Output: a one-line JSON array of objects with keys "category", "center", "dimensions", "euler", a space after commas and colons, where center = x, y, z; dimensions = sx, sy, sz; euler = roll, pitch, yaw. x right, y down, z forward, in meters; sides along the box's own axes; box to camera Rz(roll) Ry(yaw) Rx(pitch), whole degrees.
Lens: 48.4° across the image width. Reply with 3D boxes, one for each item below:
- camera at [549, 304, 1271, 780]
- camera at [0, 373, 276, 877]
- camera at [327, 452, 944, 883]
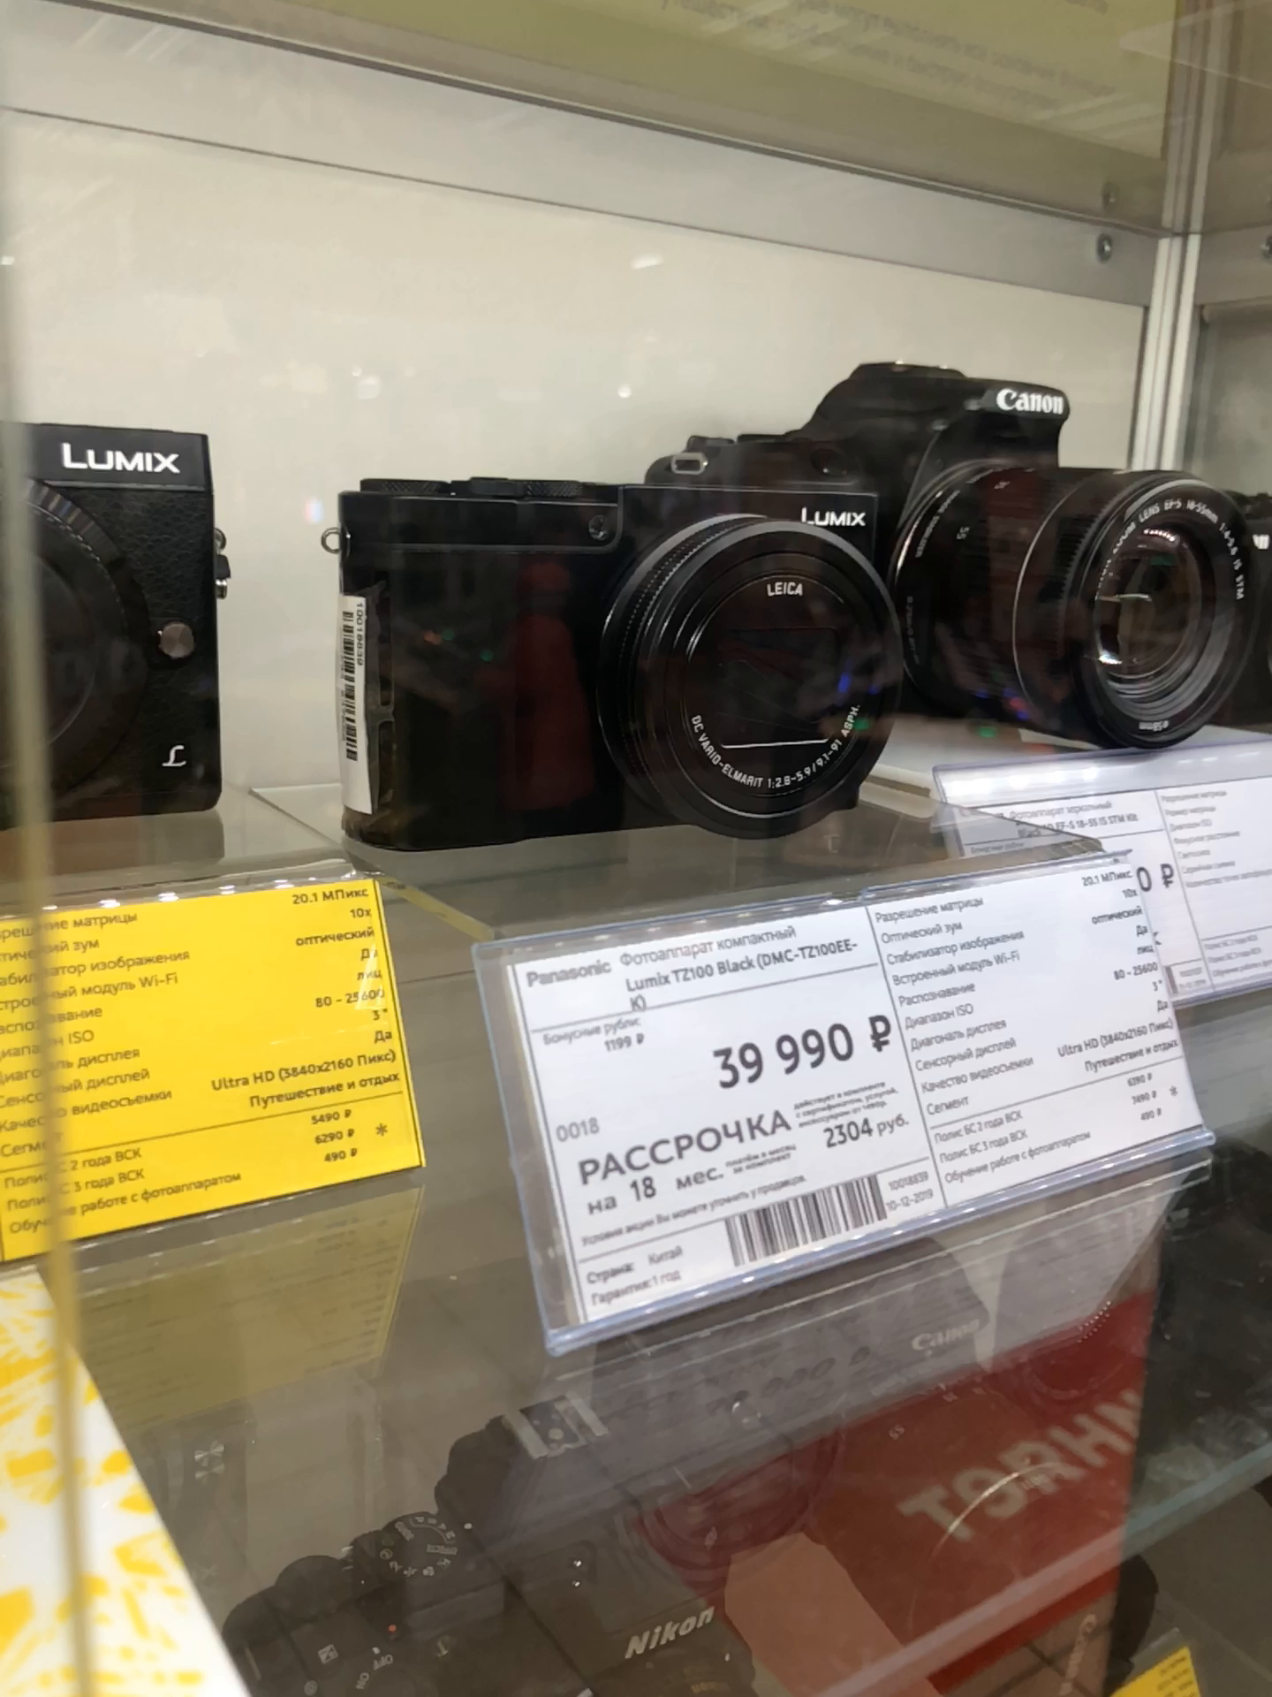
[{"category": "camera", "center": [0.085, -0.091, 0.408], "dimensions": [0.157, 0.099, 0.164], "euler": [-6, 18, -31]}, {"category": "camera", "center": [-0.124, -0.040, 0.244], "dimensions": [0.108, 0.068, 0.055], "euler": [-6, 16, -31]}, {"category": "camera", "center": [0.002, -0.037, 0.269], "dimensions": [0.111, 0.068, 0.038], "euler": [-6, 15, -32]}]
